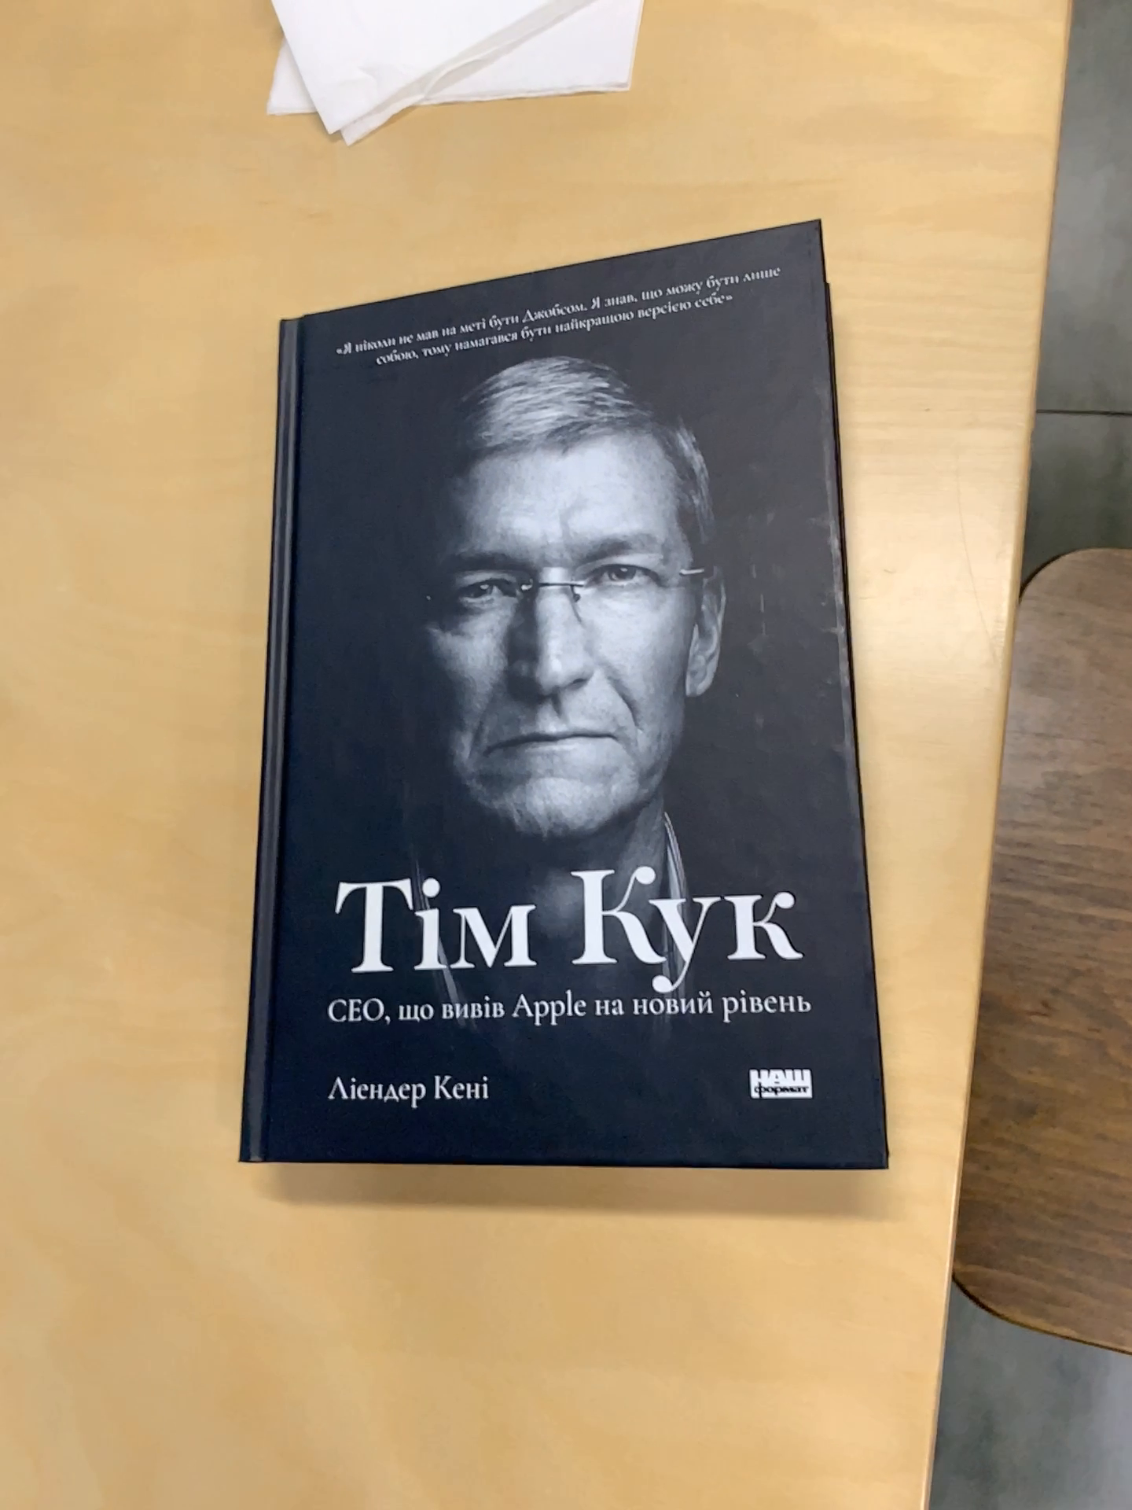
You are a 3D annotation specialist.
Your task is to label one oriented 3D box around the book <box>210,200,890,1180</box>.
[{"bbox_3d":[-0.005,-0.016,0.283,0.144,0.034,0.217,-4,75,15],"label":"book"}]
